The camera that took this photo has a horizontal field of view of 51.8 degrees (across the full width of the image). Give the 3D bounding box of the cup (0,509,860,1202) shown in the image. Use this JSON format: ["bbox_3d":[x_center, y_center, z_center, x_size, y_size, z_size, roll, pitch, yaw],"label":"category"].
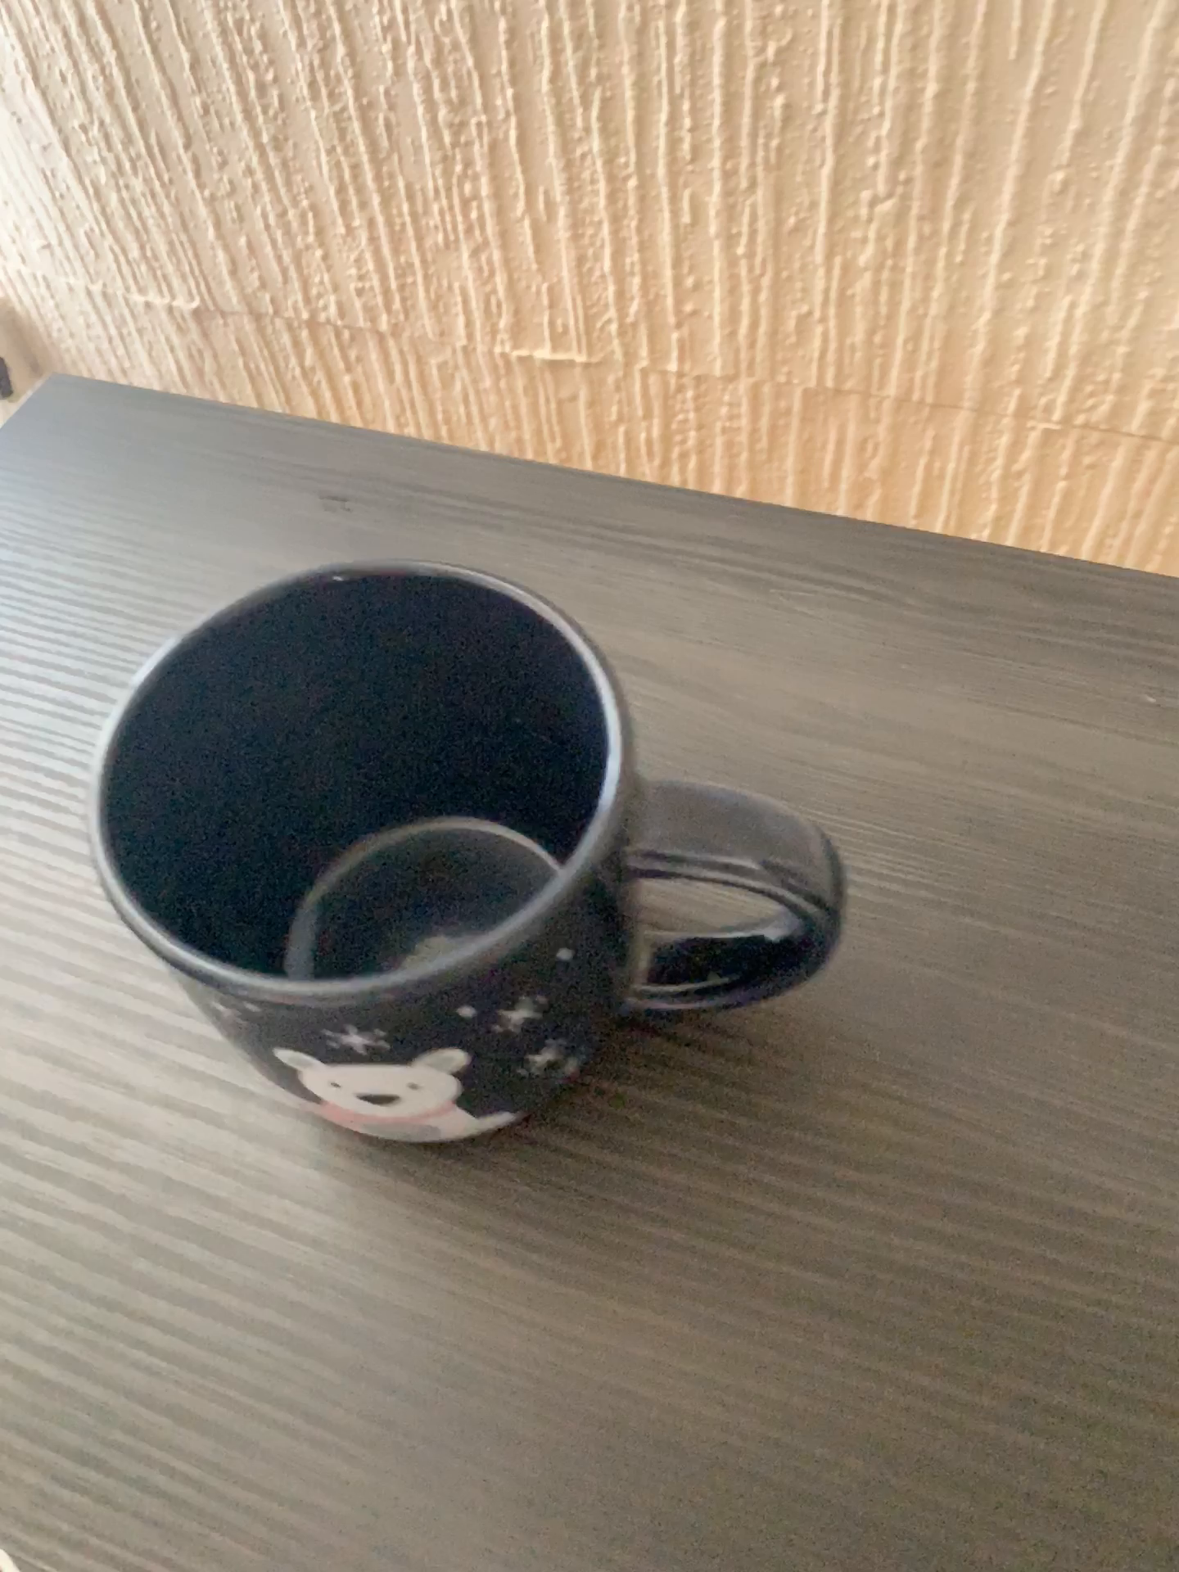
[{"bbox_3d":[-0.019,0.010,0.229,0.130,0.069,0.101,3,55,8],"label":"cup"}]
